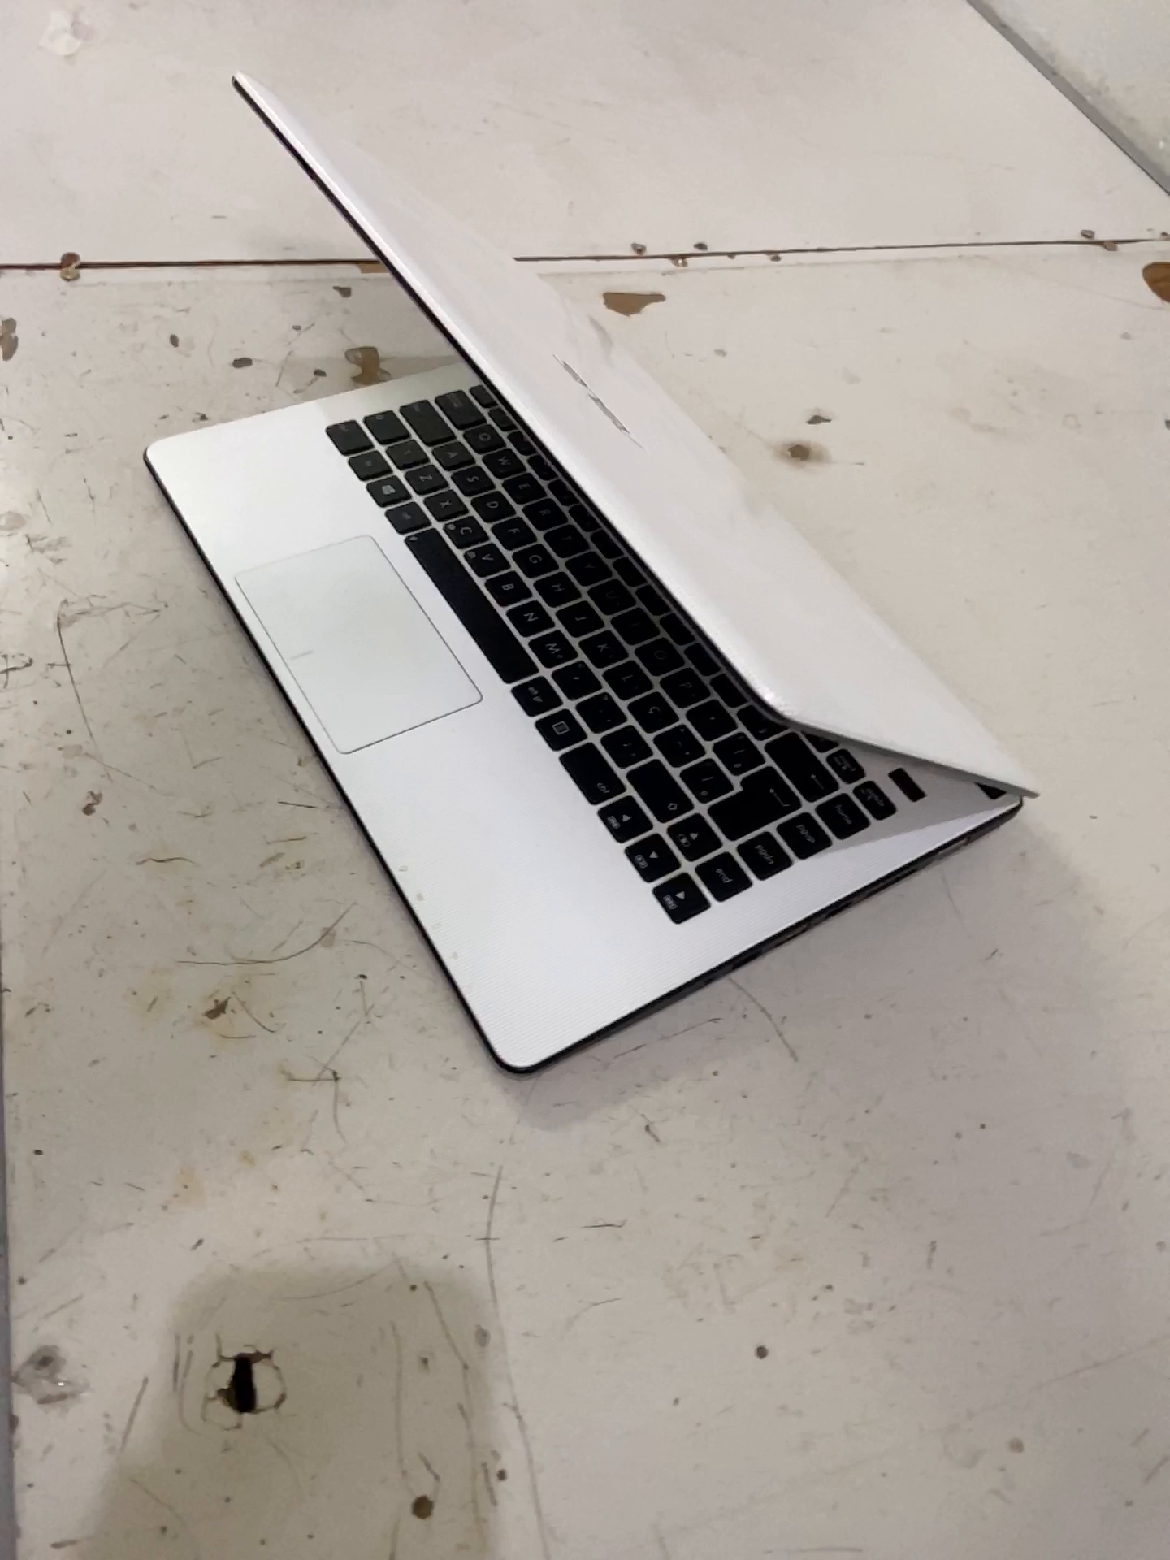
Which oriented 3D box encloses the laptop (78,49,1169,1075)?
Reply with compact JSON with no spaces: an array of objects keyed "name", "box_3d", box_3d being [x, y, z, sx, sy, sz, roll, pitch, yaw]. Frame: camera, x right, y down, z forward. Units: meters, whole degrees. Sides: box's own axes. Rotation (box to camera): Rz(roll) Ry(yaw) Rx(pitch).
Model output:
[{"name":"laptop","box_3d":[-0.005,-0.113,0.461,0.236,0.141,0.344,-23,60,-23]}]
